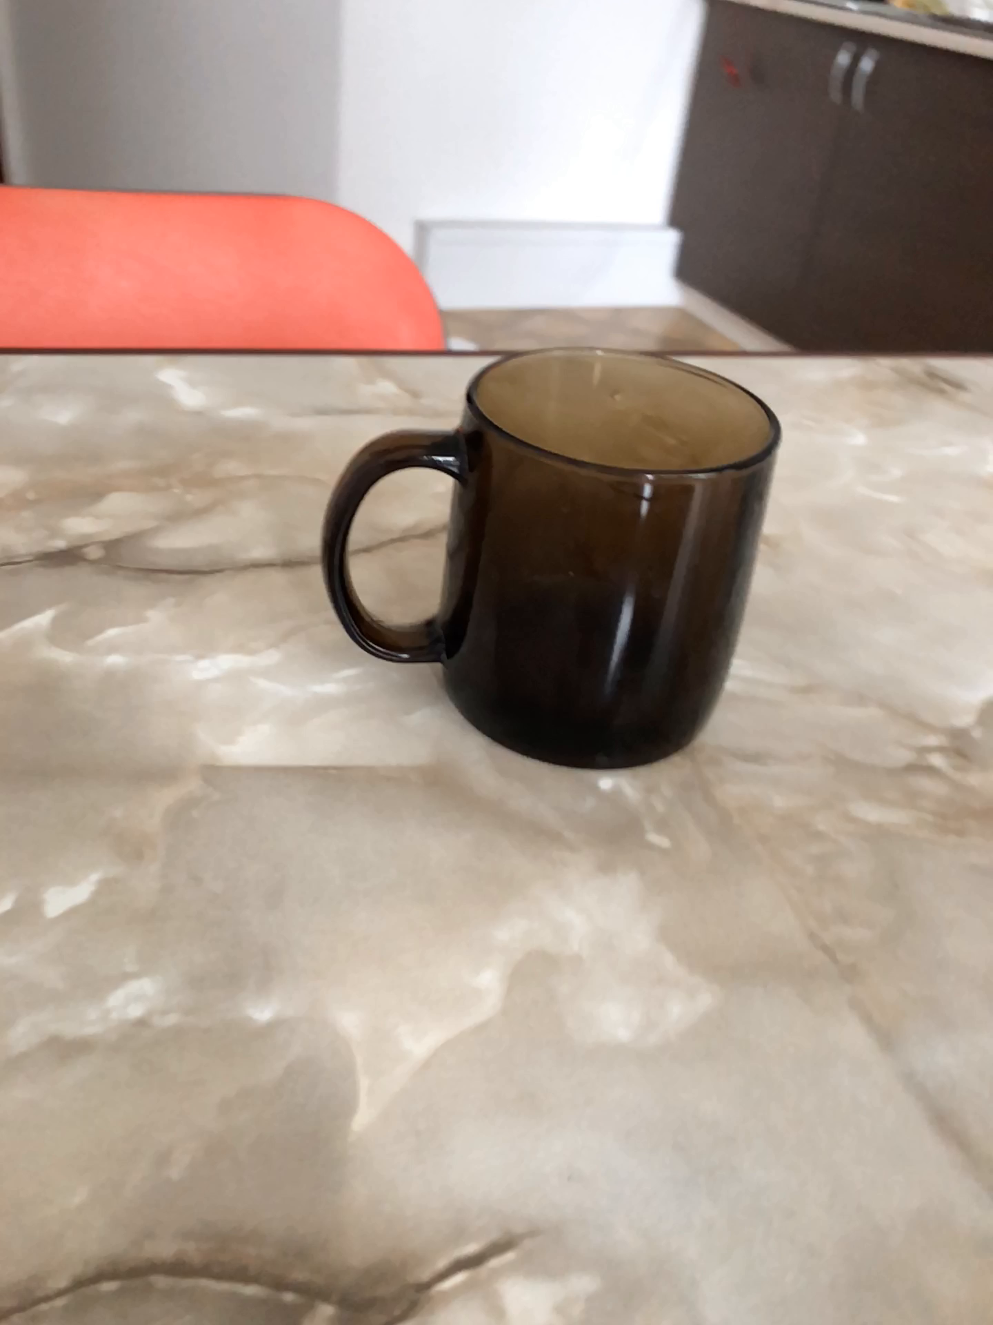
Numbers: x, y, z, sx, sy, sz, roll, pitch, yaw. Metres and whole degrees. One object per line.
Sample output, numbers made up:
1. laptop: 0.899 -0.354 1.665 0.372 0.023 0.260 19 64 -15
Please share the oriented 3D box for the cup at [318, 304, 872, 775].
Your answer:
1. cup: 0.016 -0.035 0.302 0.122 0.090 0.091 2 35 -7
